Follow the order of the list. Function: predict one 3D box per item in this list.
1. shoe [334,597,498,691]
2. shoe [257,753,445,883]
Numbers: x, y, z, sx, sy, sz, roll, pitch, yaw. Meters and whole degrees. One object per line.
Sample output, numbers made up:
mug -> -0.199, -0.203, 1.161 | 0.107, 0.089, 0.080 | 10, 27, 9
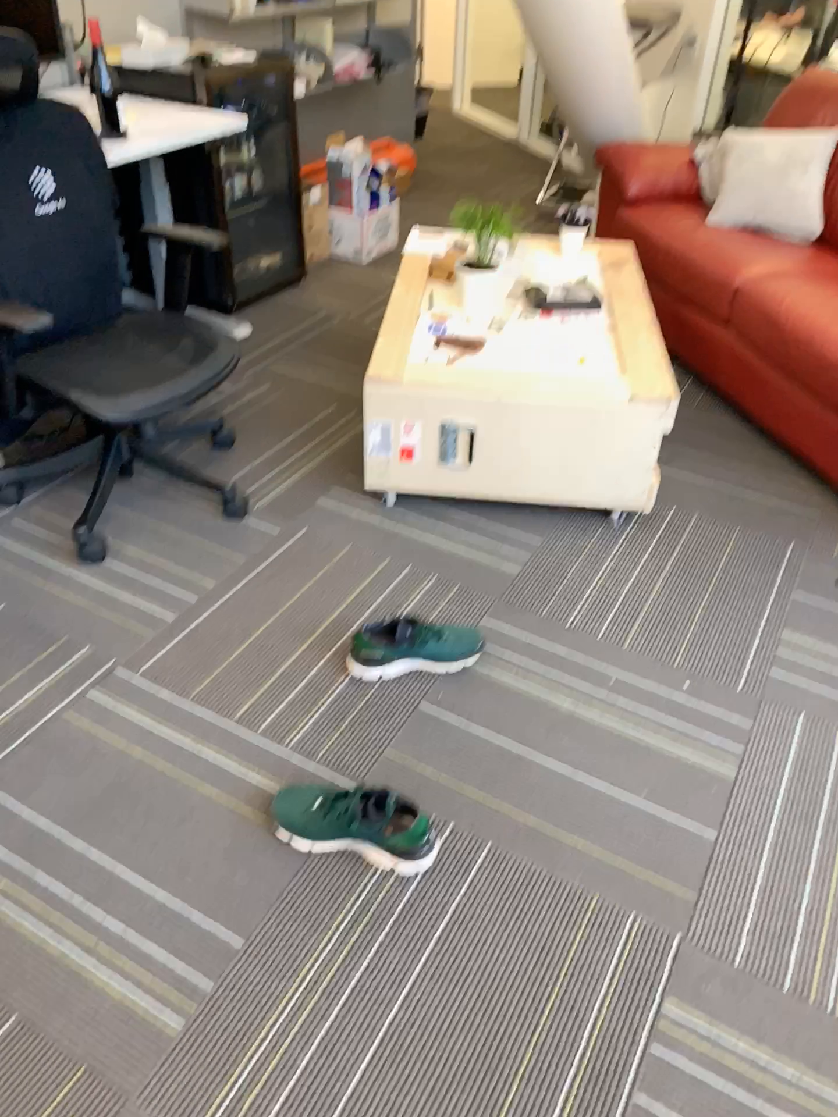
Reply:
shoe -> -0.009, 0.177, 1.793 | 0.320, 0.099, 0.121 | -7, 39, -11
shoe -> -0.115, 0.444, 1.474 | 0.300, 0.099, 0.100 | 12, 39, 12
